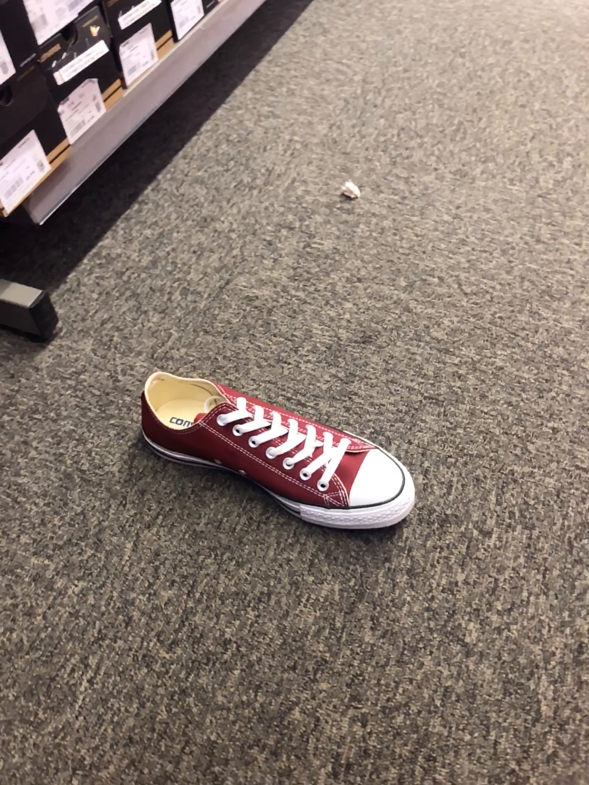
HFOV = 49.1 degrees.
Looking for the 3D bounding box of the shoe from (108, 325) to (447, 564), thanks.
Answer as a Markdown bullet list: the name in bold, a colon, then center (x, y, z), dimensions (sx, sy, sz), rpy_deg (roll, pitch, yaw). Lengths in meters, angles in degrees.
- **shoe**: center (-0.017, 0.043, 0.597), dimensions (0.280, 0.090, 0.101), rpy_deg (19, 55, 15)
